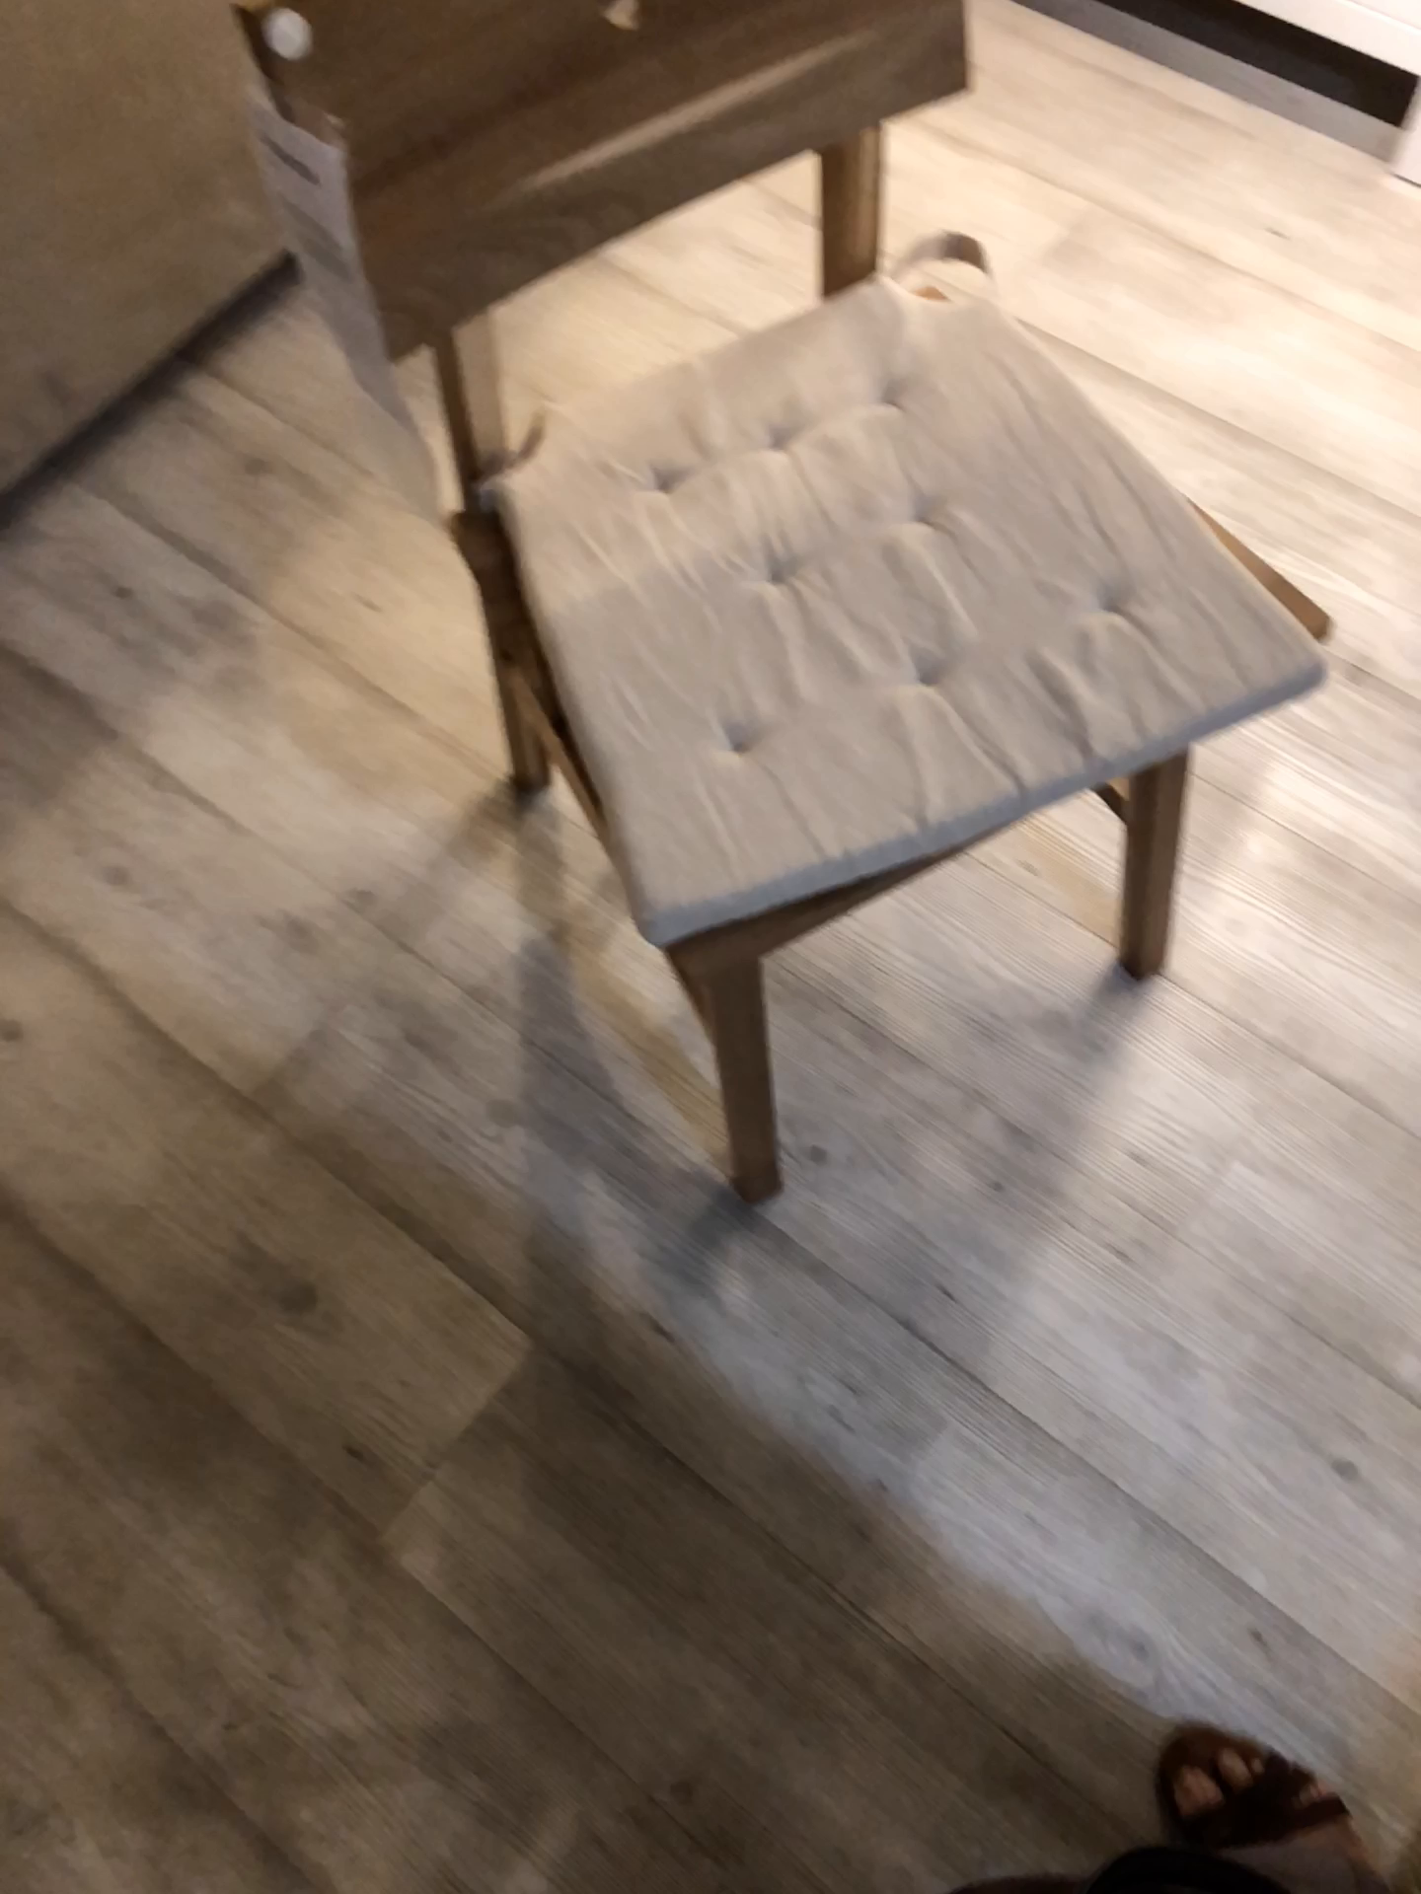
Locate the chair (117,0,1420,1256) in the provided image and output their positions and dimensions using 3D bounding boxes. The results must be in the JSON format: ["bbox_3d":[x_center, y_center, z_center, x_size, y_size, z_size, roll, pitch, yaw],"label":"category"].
[{"bbox_3d":[0.089,-0.240,0.942,0.500,0.599,0.531,-29,67,-10],"label":"chair"}]
